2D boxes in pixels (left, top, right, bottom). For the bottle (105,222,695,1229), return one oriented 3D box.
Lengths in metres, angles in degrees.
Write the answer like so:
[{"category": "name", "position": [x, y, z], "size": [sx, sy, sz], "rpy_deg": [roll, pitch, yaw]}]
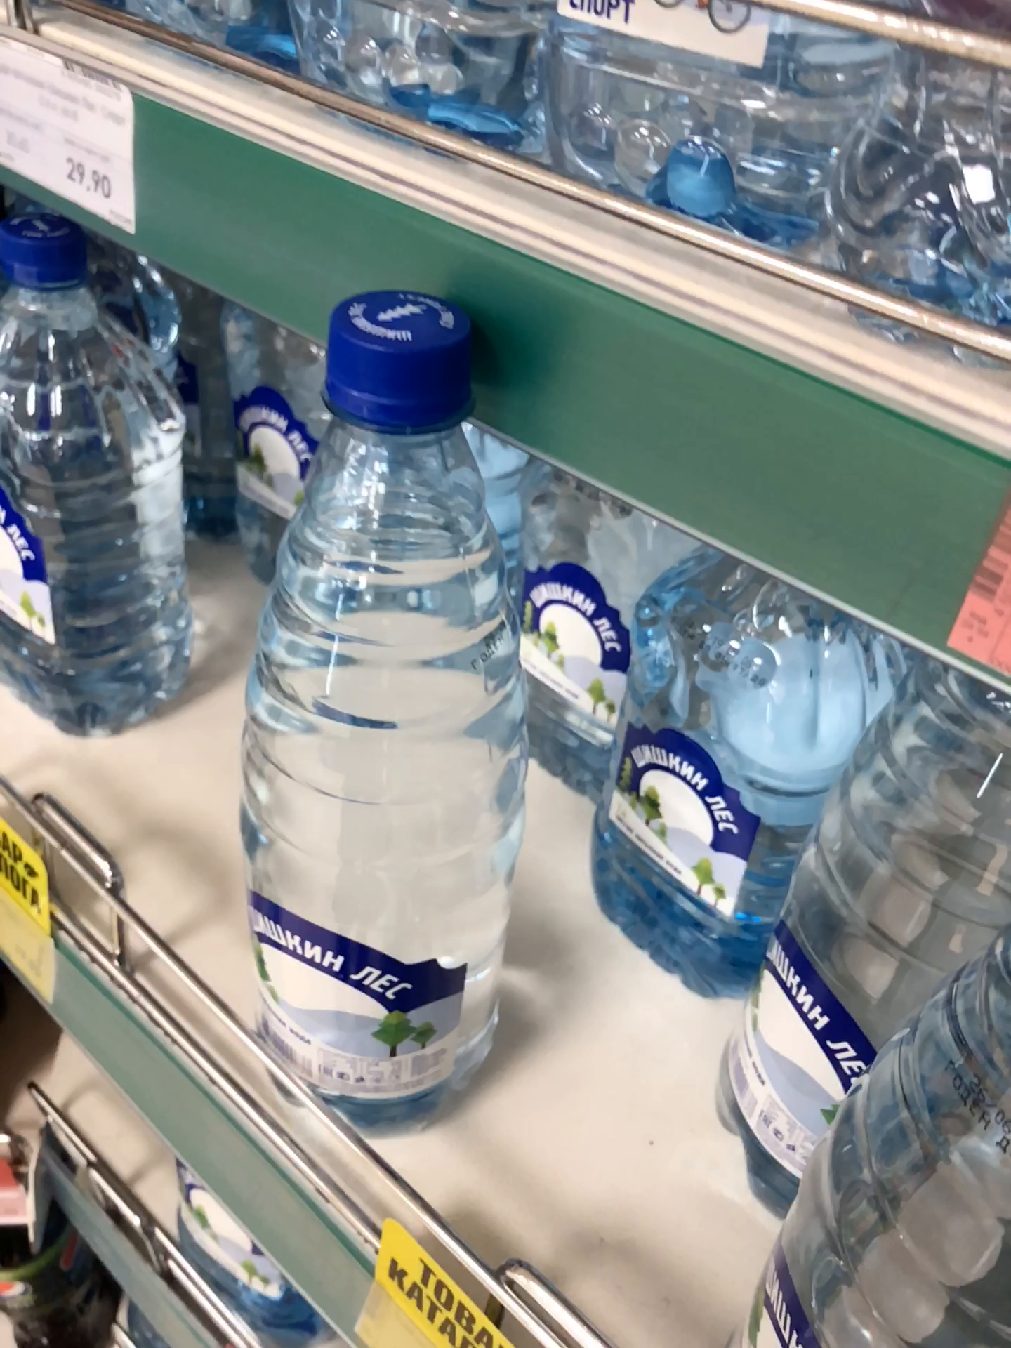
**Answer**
[{"category": "bottle", "position": [-0.030, 0.033, 0.316], "size": [0.090, 0.272, 0.080], "rpy_deg": [27, 44, 24]}]
